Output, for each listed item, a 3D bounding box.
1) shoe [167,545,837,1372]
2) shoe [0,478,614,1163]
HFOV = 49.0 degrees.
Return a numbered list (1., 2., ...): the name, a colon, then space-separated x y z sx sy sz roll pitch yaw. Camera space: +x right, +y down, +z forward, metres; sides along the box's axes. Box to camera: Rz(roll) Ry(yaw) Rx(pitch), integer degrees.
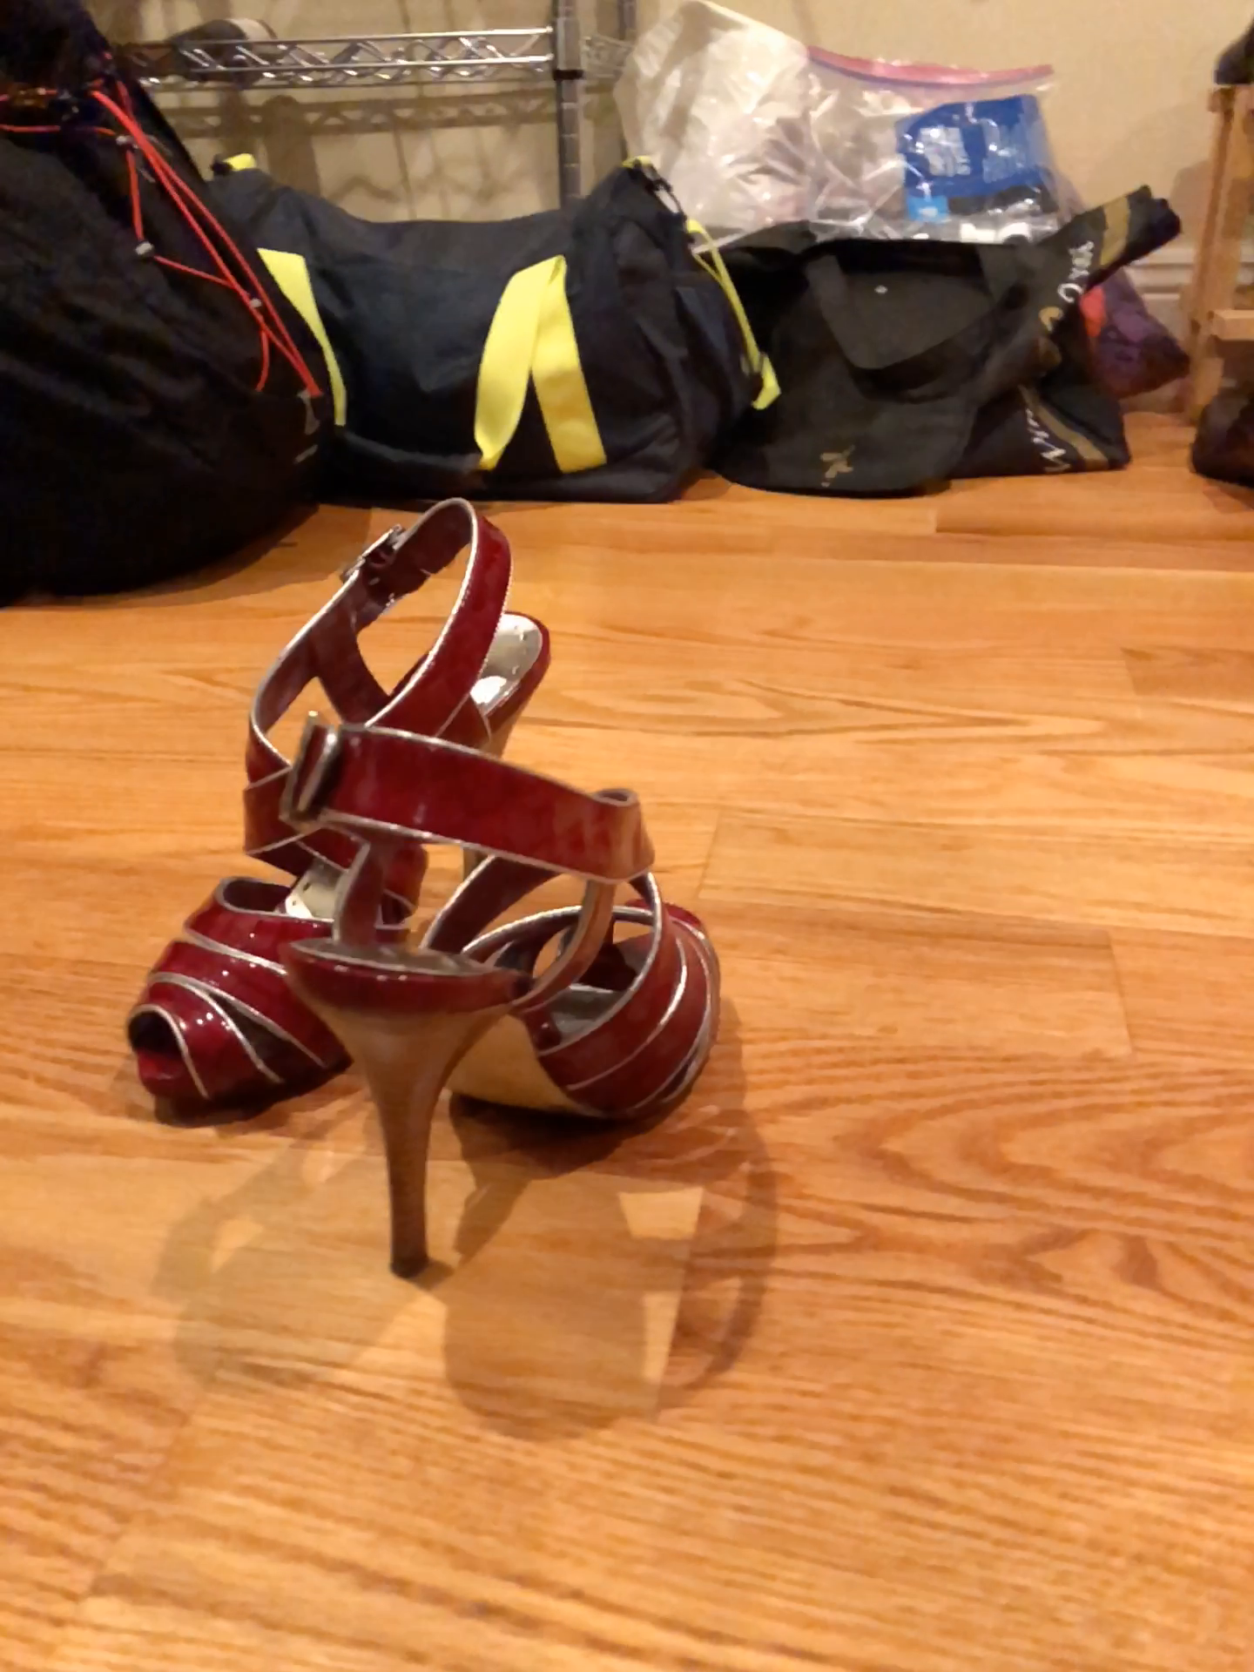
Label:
1. shoe: -0.016 0.015 0.388 0.091 0.141 0.194 10 28 22
2. shoe: -0.094 -0.021 0.465 0.092 0.151 0.199 12 29 25
